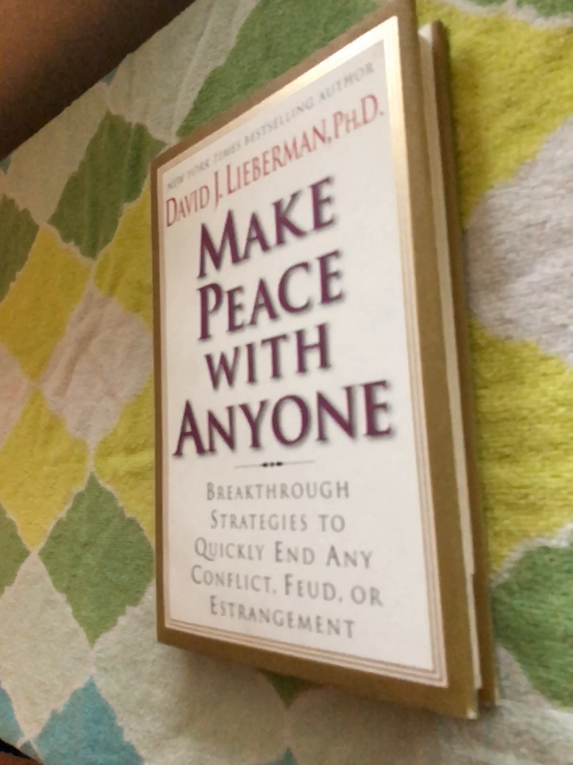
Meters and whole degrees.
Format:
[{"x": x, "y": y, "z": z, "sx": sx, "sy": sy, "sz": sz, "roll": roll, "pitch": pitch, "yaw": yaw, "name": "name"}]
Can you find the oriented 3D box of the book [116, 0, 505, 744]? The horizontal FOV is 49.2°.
[{"x": -0.008, "y": -0.005, "z": 0.225, "sx": 0.146, "sy": 0.030, "sz": 0.204, "roll": -11, "pitch": 76, "yaw": 43, "name": "book"}]
